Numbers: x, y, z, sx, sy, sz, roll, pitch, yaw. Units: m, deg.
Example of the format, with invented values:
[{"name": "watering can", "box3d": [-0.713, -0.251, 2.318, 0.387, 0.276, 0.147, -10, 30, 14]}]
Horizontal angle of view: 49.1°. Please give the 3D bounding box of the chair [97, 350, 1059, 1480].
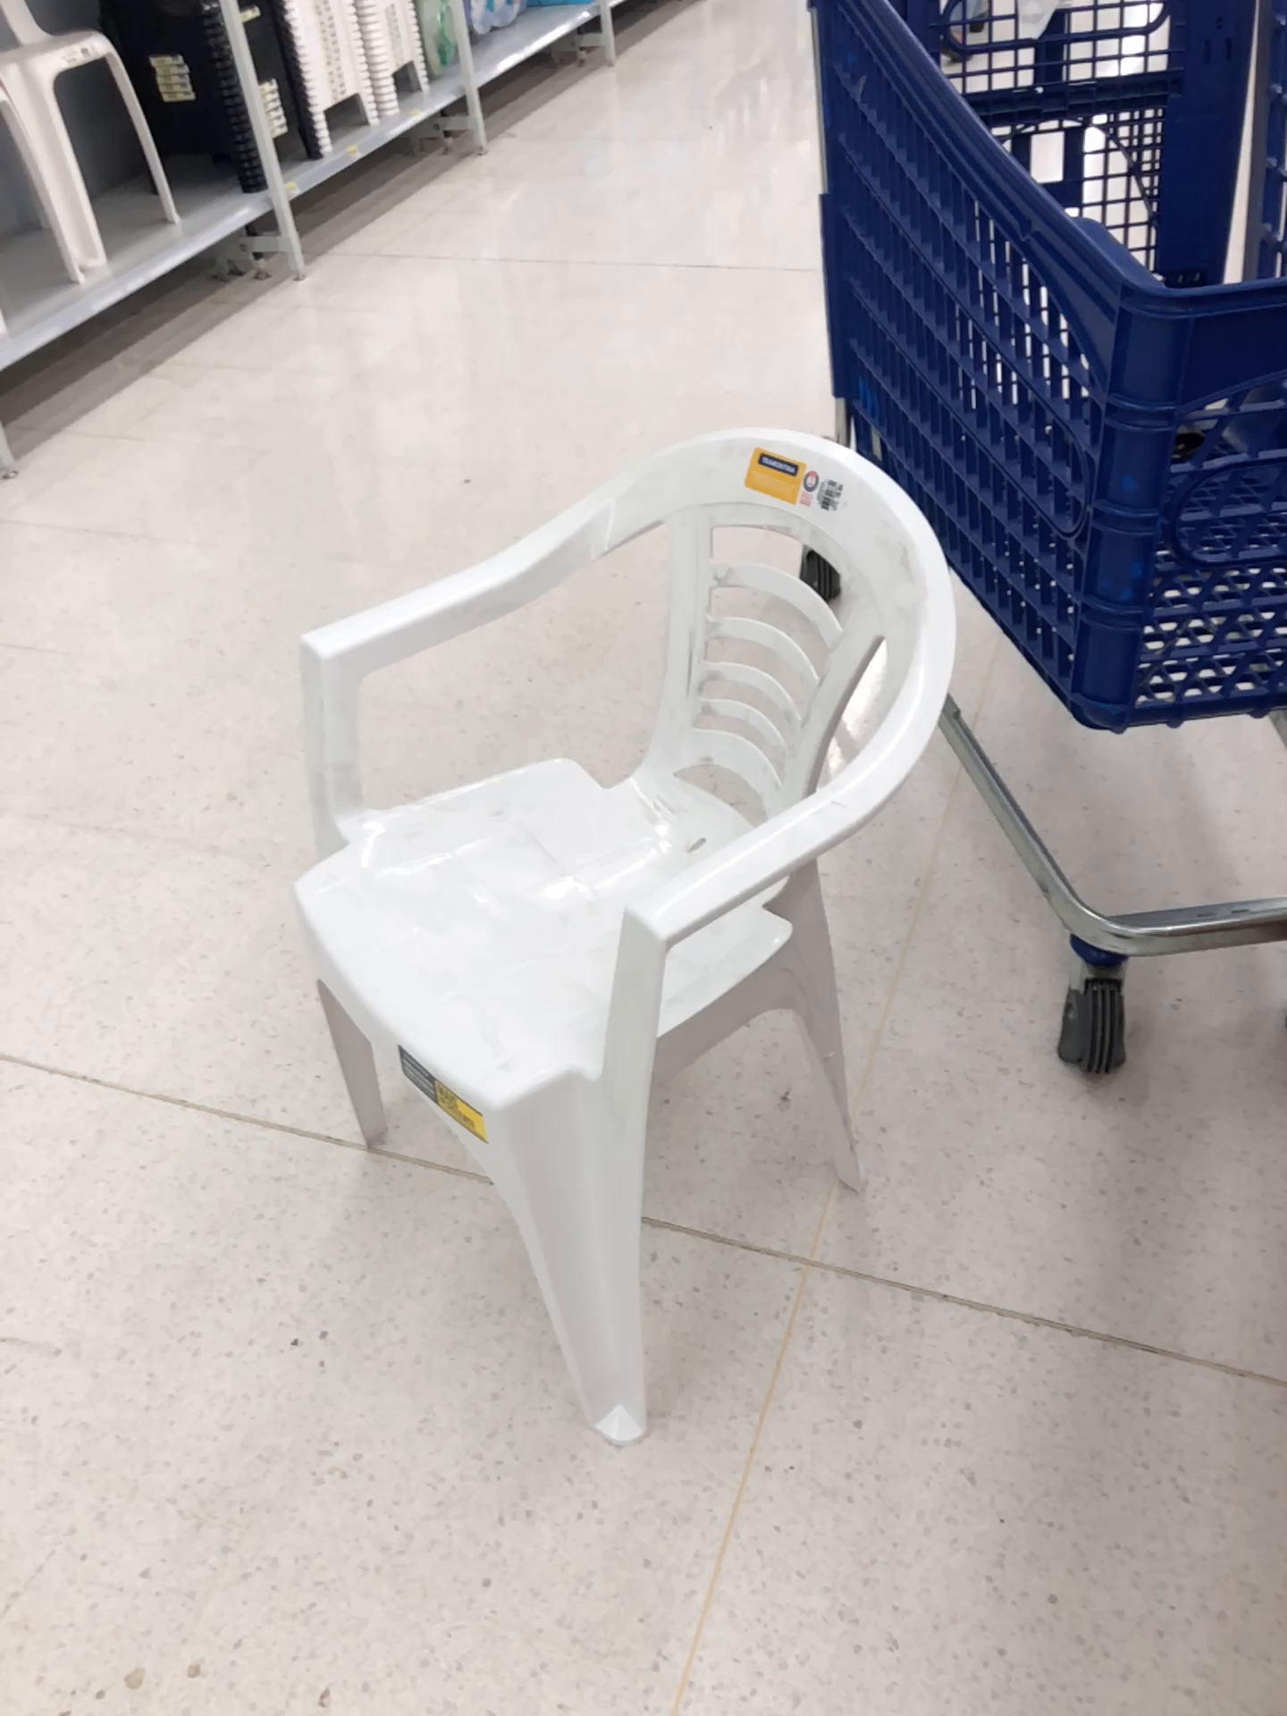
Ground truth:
[{"name": "chair", "box3d": [-0.038, 0.027, 1.253, 0.501, 0.695, 0.522, -29, 44, -26]}]
